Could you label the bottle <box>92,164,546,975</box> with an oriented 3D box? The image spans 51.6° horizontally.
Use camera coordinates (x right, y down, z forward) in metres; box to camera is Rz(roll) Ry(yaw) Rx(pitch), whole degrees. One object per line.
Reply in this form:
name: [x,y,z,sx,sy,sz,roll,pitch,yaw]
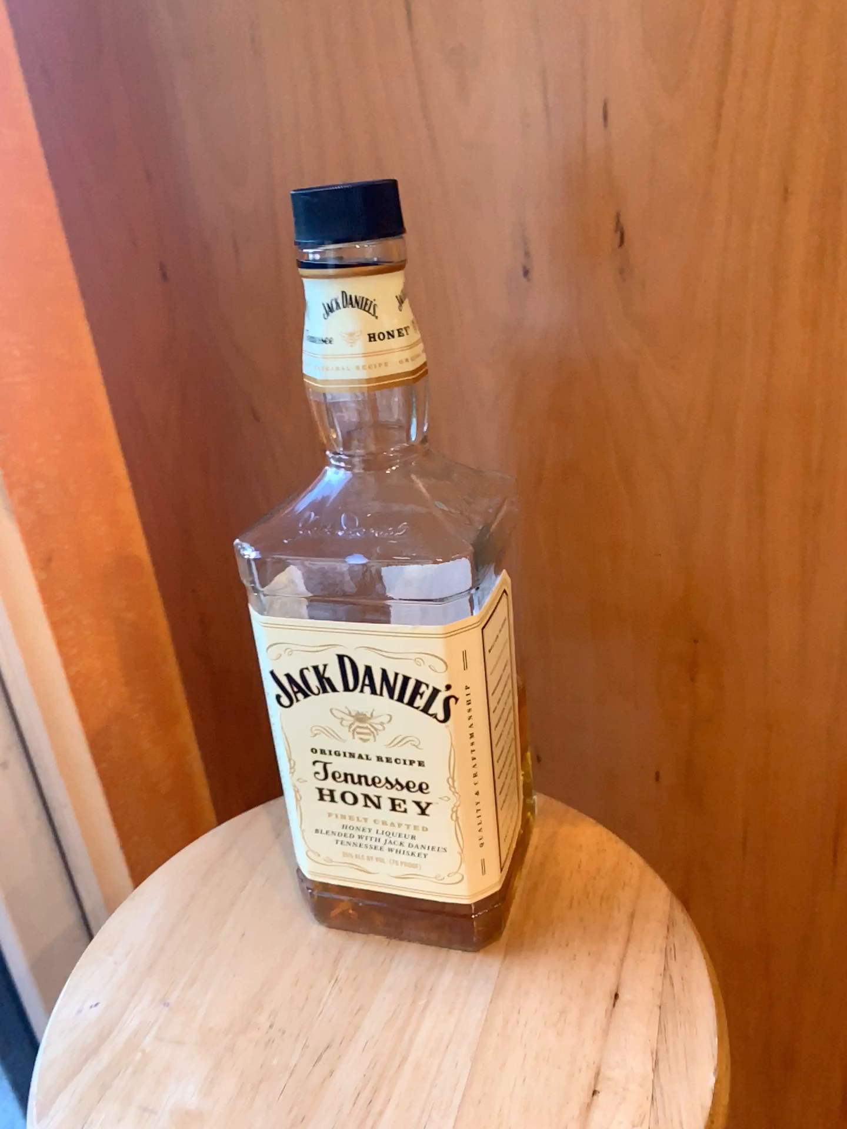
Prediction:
bottle: [-0.023,0.011,0.386,0.120,0.328,0.100,1,25,18]
